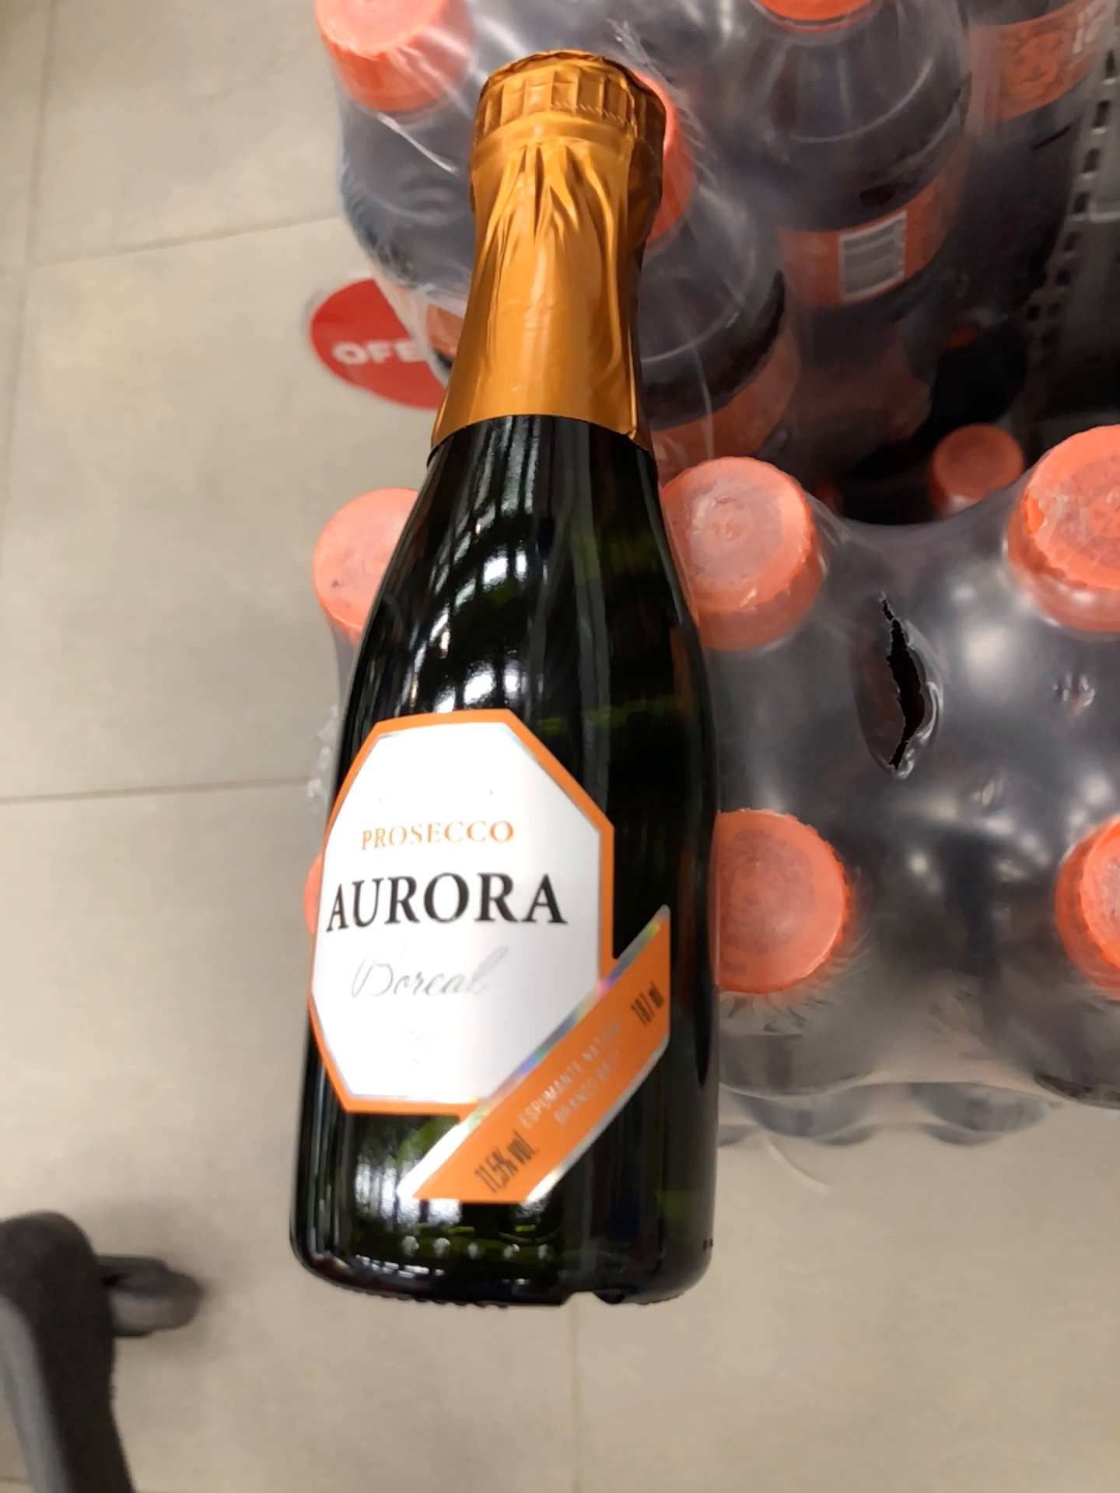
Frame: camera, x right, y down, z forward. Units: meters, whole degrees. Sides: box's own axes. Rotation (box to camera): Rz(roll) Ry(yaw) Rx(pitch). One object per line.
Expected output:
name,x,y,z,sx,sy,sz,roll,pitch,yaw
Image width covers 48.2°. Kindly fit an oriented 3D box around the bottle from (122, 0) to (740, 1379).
bottle,-0.009,-0.020,0.173,0.060,0.050,0.180,0,78,13
